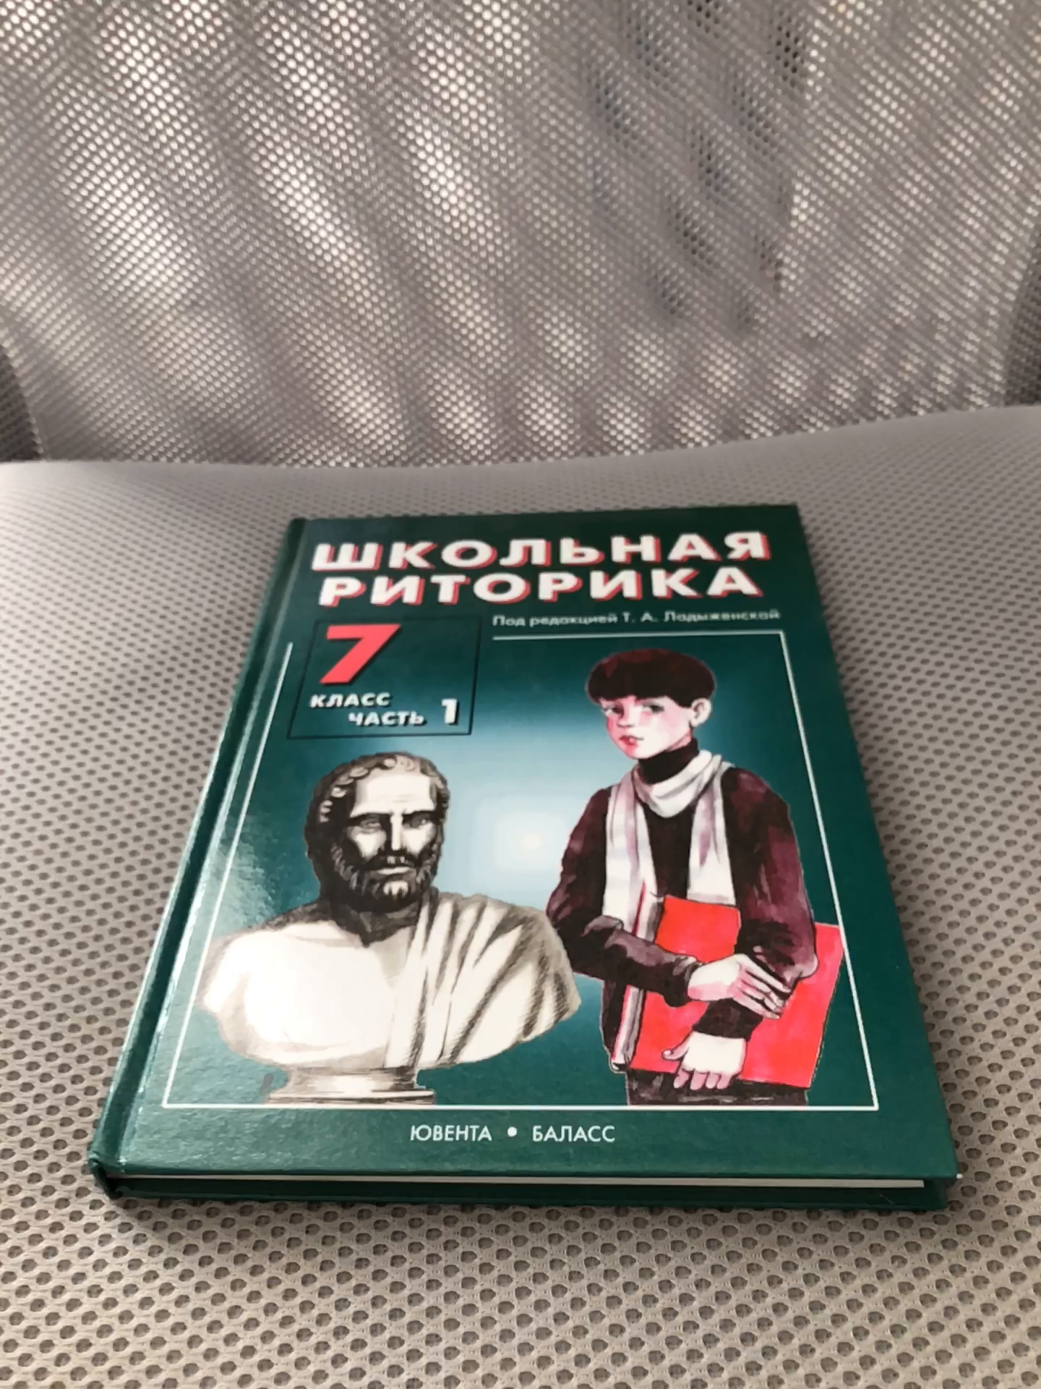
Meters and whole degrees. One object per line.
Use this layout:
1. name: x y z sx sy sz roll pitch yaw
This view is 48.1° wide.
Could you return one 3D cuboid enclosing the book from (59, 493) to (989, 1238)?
1. book: 0.003 0.023 0.296 0.167 0.030 0.211 -1 43 3
